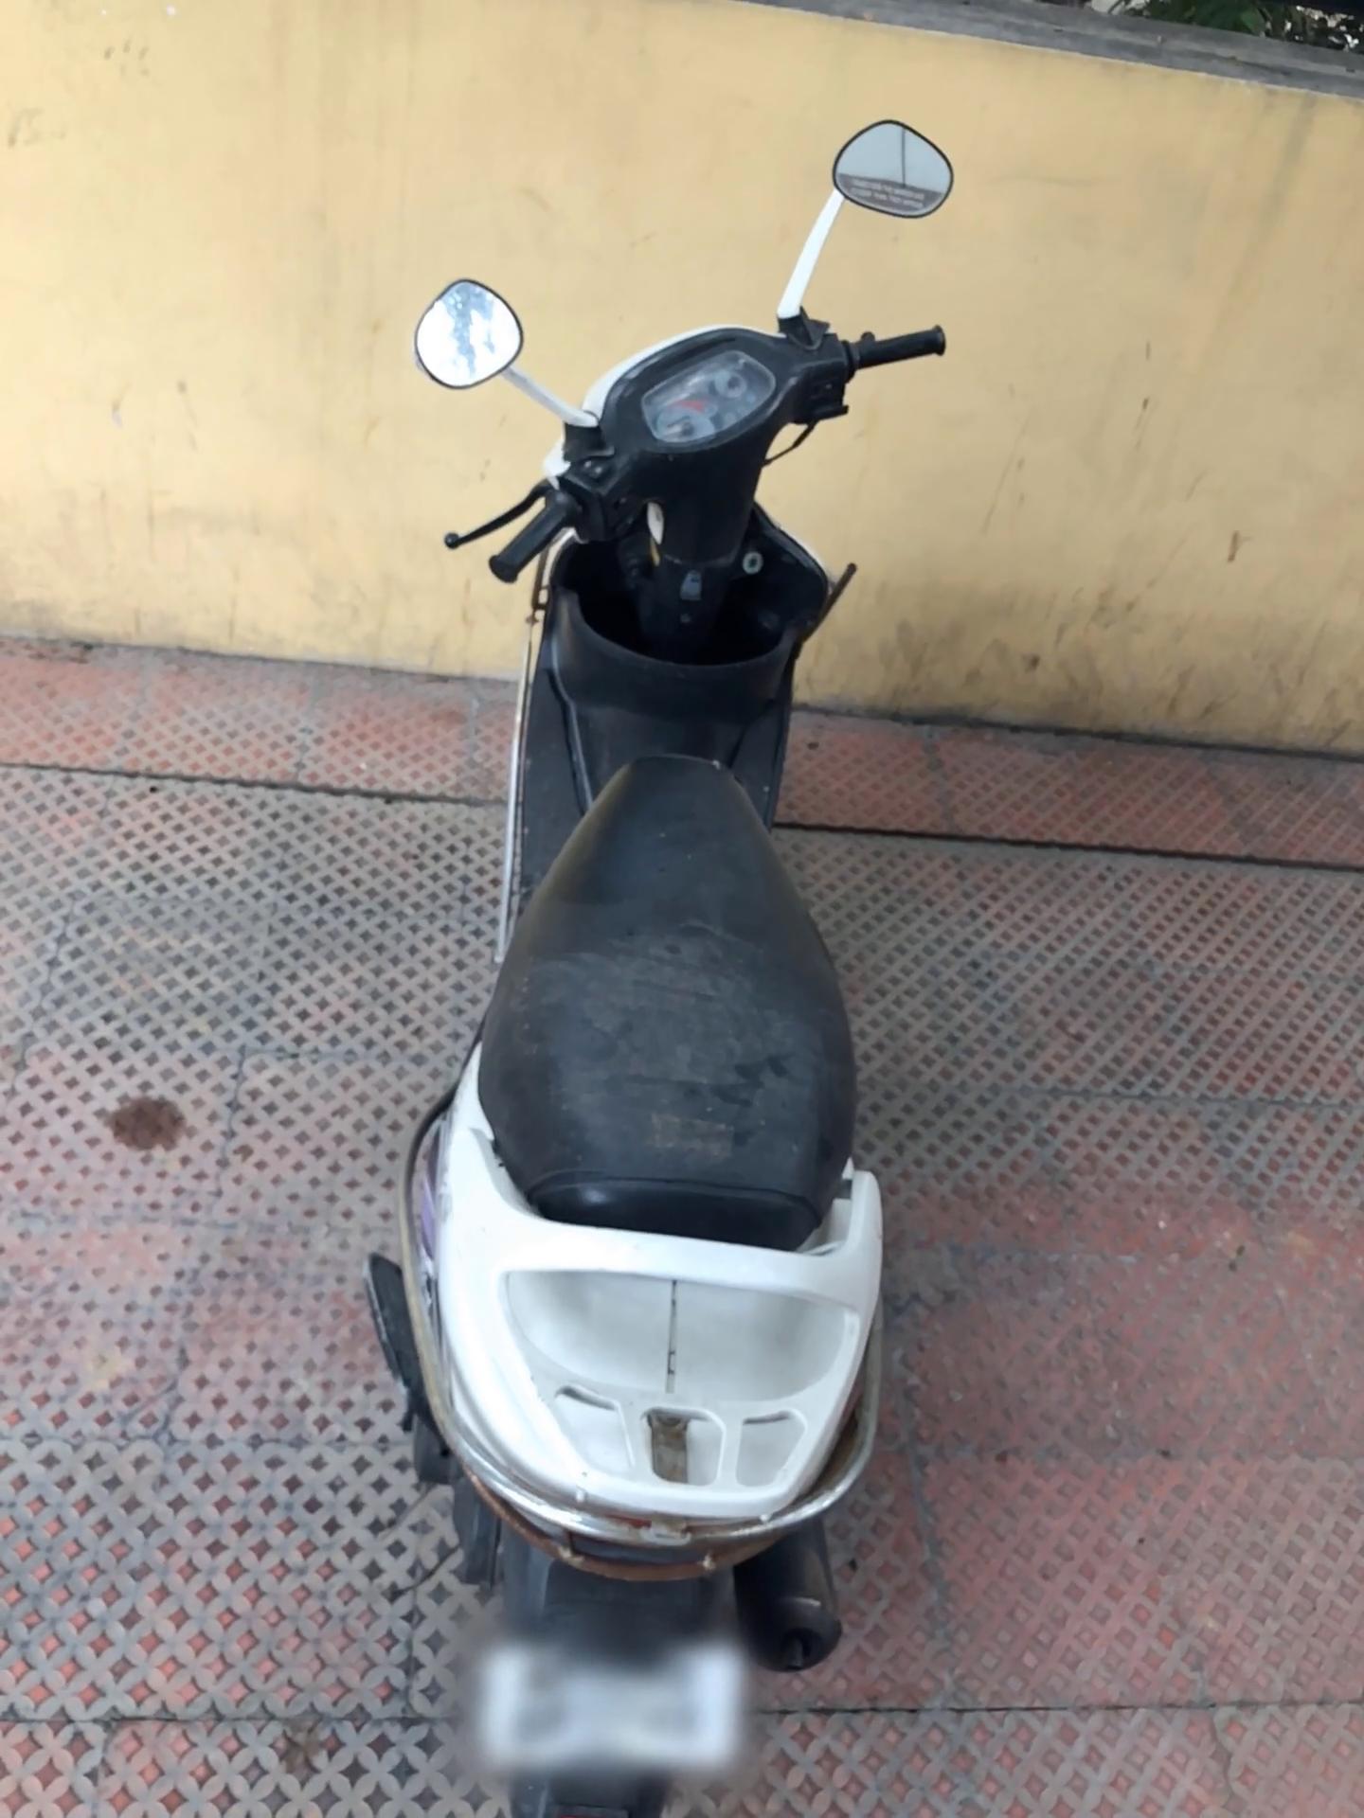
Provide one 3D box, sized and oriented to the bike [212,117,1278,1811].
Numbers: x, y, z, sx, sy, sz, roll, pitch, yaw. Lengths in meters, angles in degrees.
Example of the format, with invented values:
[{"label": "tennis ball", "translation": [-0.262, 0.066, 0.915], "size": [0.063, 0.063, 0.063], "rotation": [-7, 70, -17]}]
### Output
[{"label": "bike", "translation": [-0.057, 0.004, 1.706], "size": [0.599, 1.081, 1.481], "rotation": [5, 45, -7]}]
